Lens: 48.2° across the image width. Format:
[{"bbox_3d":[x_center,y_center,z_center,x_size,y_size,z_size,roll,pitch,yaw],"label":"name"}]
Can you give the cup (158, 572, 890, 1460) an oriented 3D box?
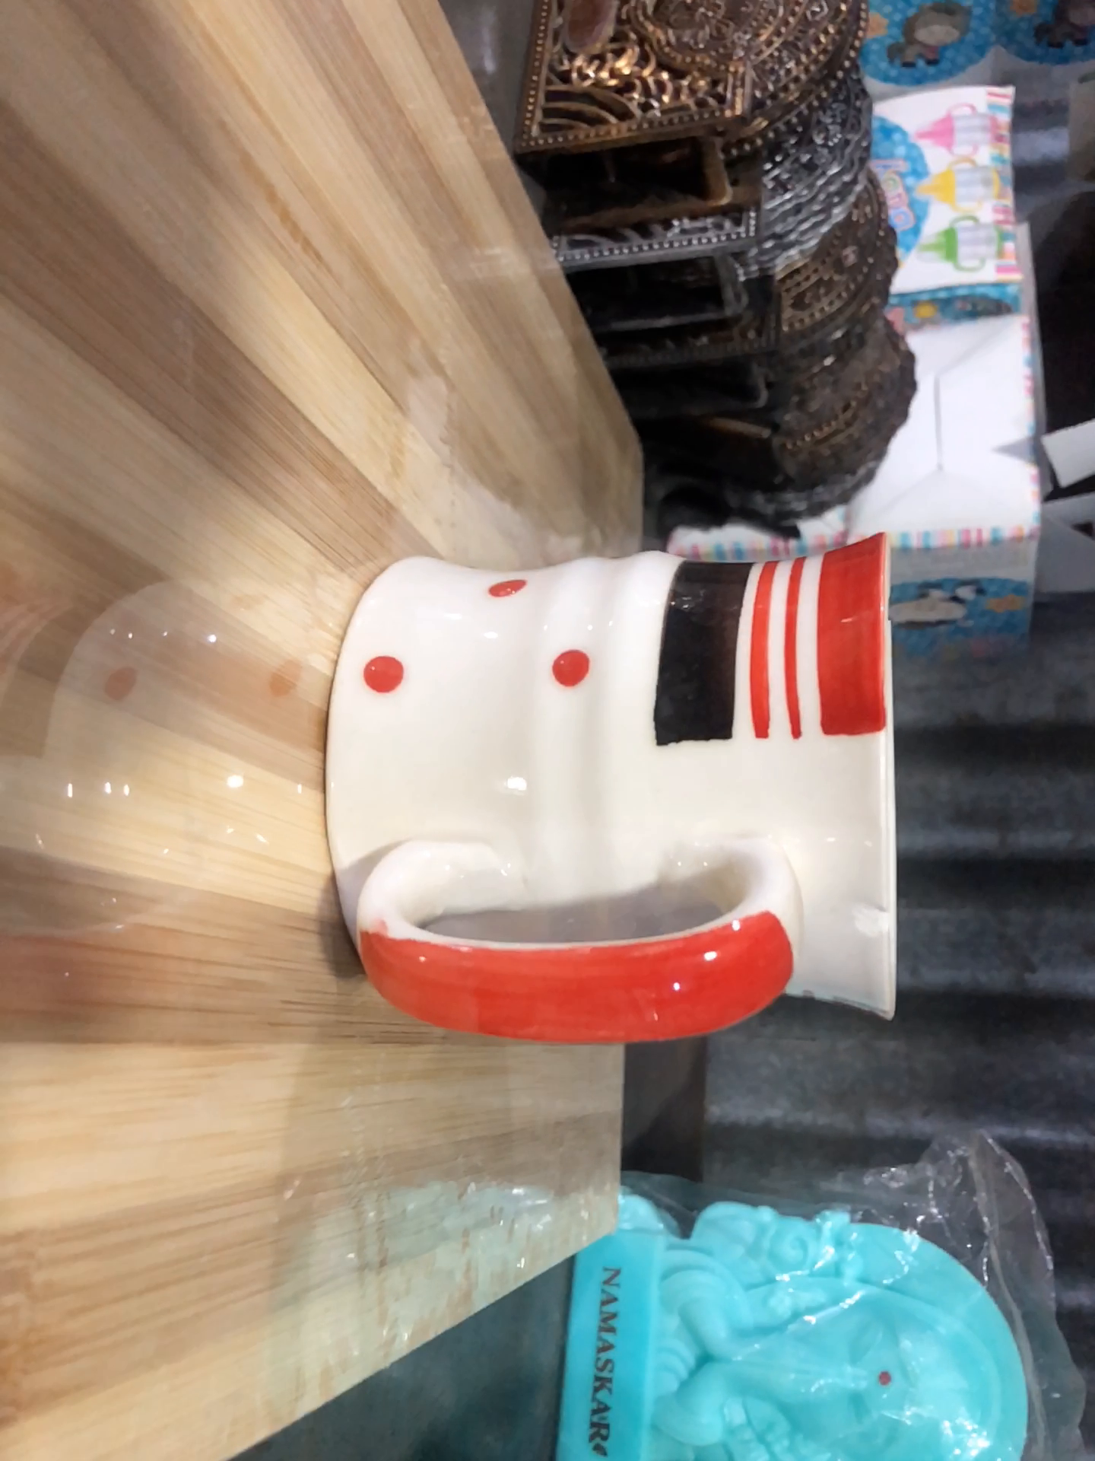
[{"bbox_3d":[0.013,0.041,0.216,0.110,0.090,0.100,-65,150,-58],"label":"cup"}]
